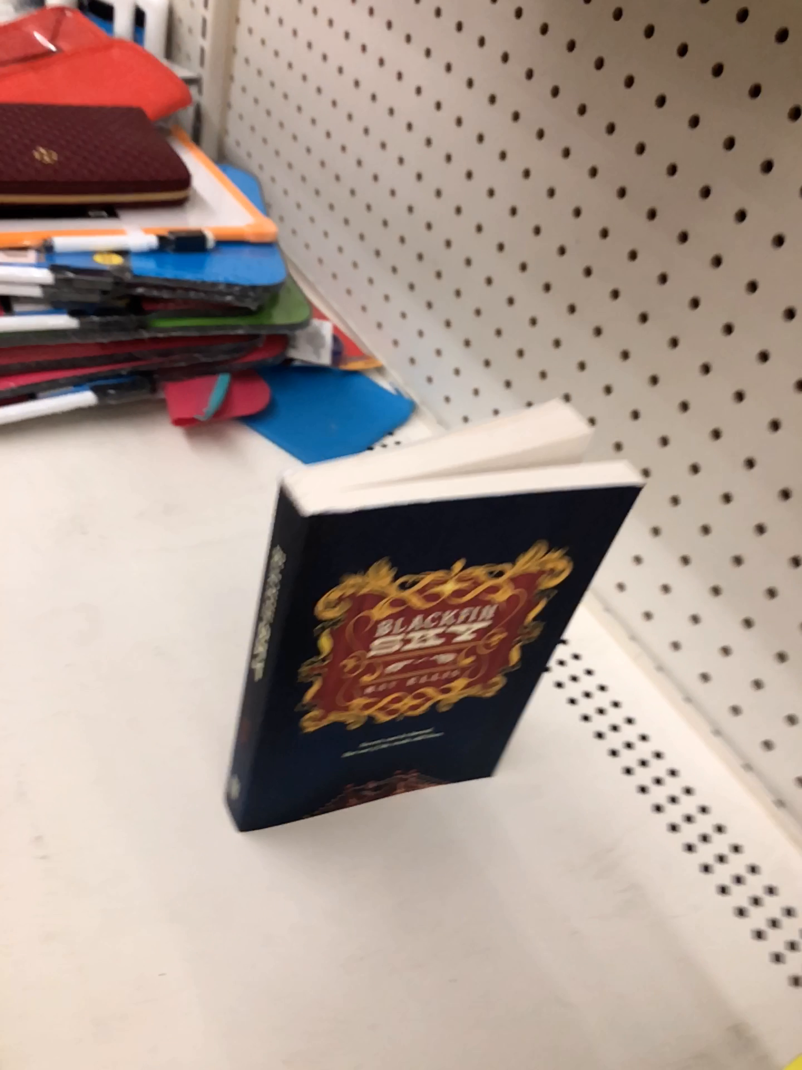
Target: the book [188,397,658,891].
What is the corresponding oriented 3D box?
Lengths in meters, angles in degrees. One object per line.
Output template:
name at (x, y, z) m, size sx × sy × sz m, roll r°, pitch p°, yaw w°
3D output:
book at (-0.003, 0.050, 0.384) m, size 0.150 × 0.204 × 0.059 m, roll -11°, pitch 47°, yaw -29°
